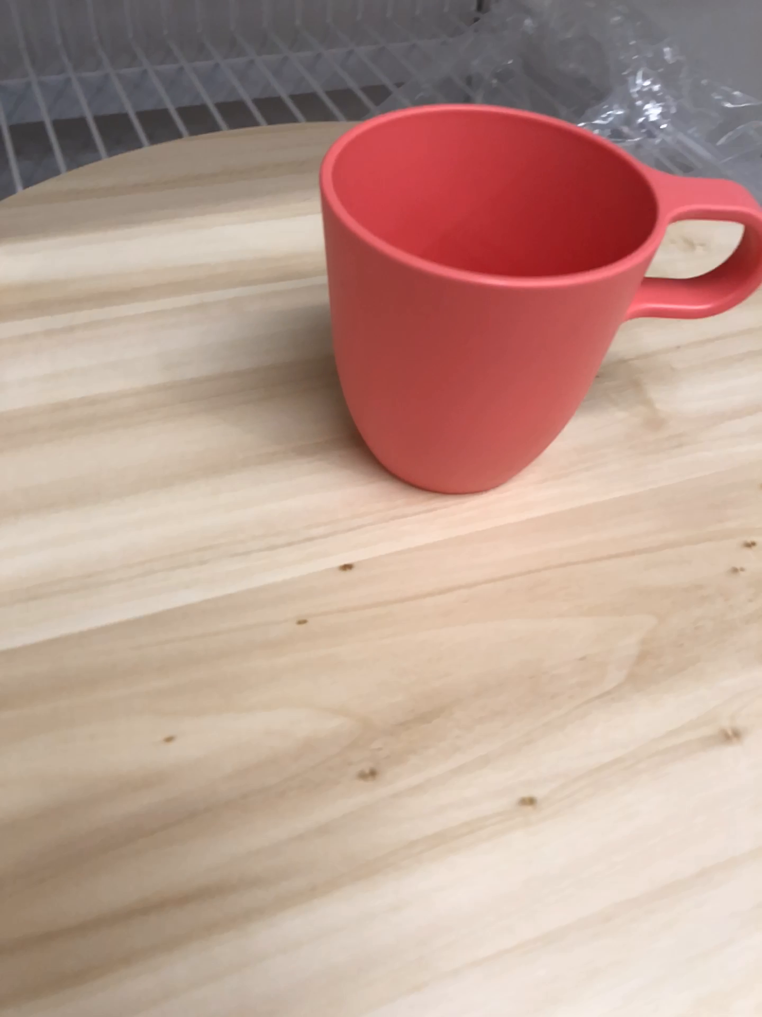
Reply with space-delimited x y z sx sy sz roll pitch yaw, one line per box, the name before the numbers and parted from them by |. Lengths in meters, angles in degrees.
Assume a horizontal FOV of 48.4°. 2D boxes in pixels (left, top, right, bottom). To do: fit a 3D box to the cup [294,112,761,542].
cup | 0.033 -0.049 0.230 0.110 0.080 0.080 -2 47 -5
